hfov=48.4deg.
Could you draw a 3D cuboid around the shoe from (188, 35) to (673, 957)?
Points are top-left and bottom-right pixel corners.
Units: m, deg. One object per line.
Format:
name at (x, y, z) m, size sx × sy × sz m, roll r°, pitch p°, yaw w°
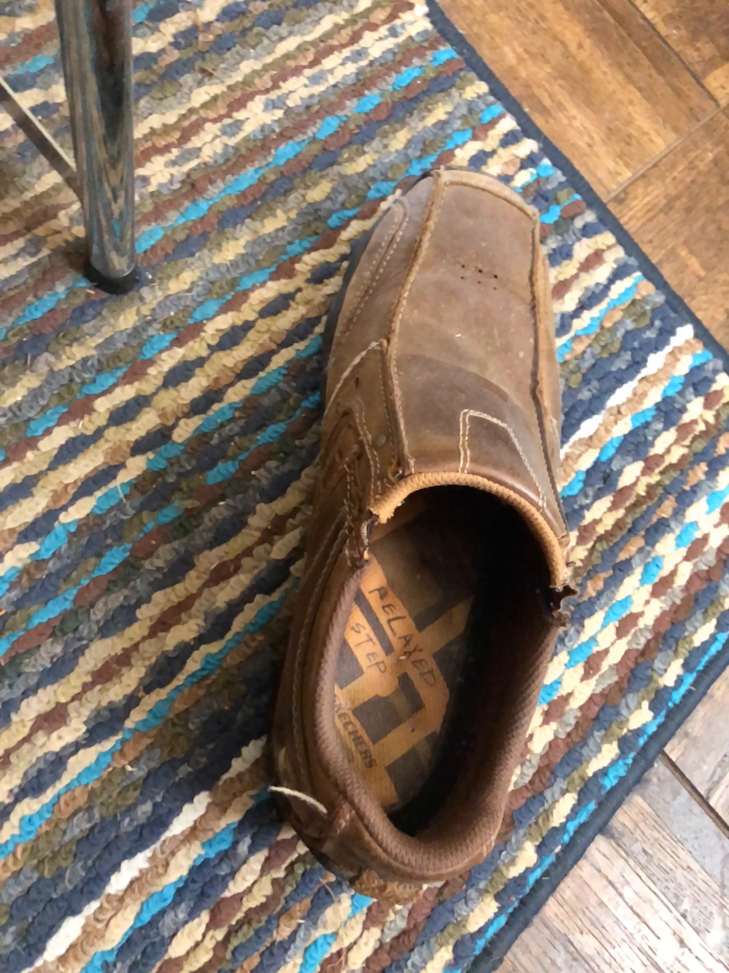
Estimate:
shoe at (0.027, -0.003, 0.300) m, size 0.100 × 0.100 × 0.280 m, roll 17°, pitch 71°, yaw -13°
